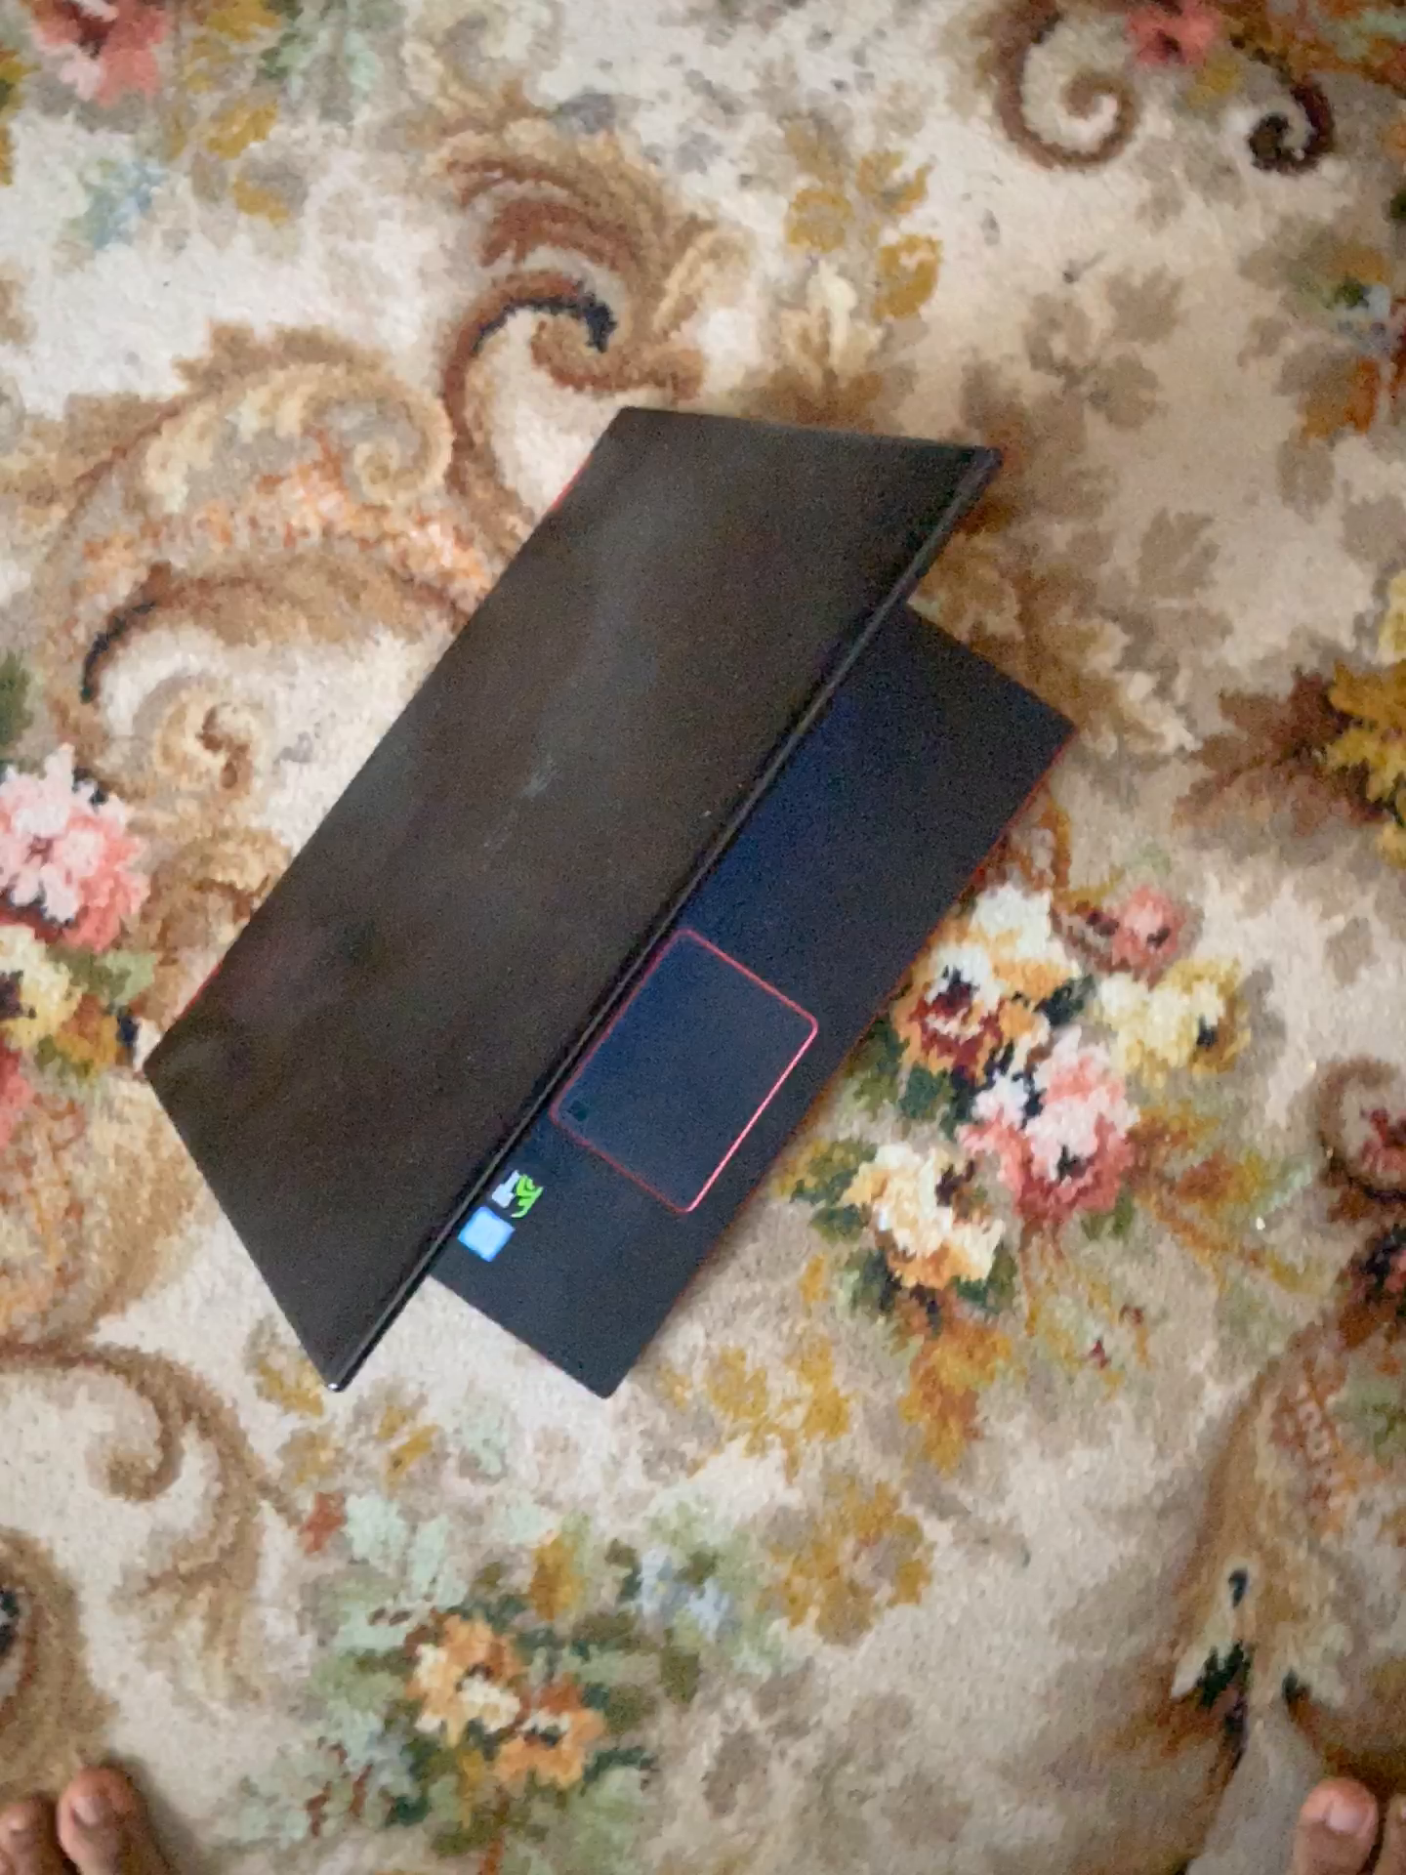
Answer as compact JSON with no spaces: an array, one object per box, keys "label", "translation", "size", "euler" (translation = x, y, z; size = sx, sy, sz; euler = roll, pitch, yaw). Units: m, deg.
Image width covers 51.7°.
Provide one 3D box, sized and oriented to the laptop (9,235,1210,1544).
[{"label":"laptop","translation":[-0.027,-0.014,0.554],"size":[0.224,0.173,0.356],"euler":[35,88,-1]}]
